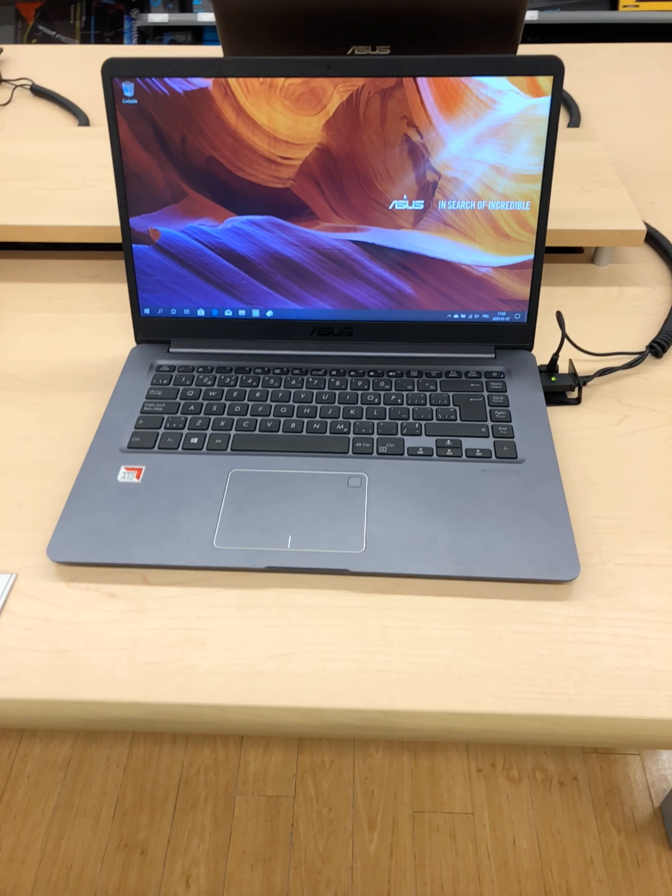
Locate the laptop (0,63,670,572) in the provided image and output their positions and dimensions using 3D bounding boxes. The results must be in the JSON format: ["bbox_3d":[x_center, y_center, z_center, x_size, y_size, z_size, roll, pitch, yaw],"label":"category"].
[{"bbox_3d":[-0.014,-0.112,0.545,0.361,0.223,0.319,1,45,3],"label":"laptop"}]
